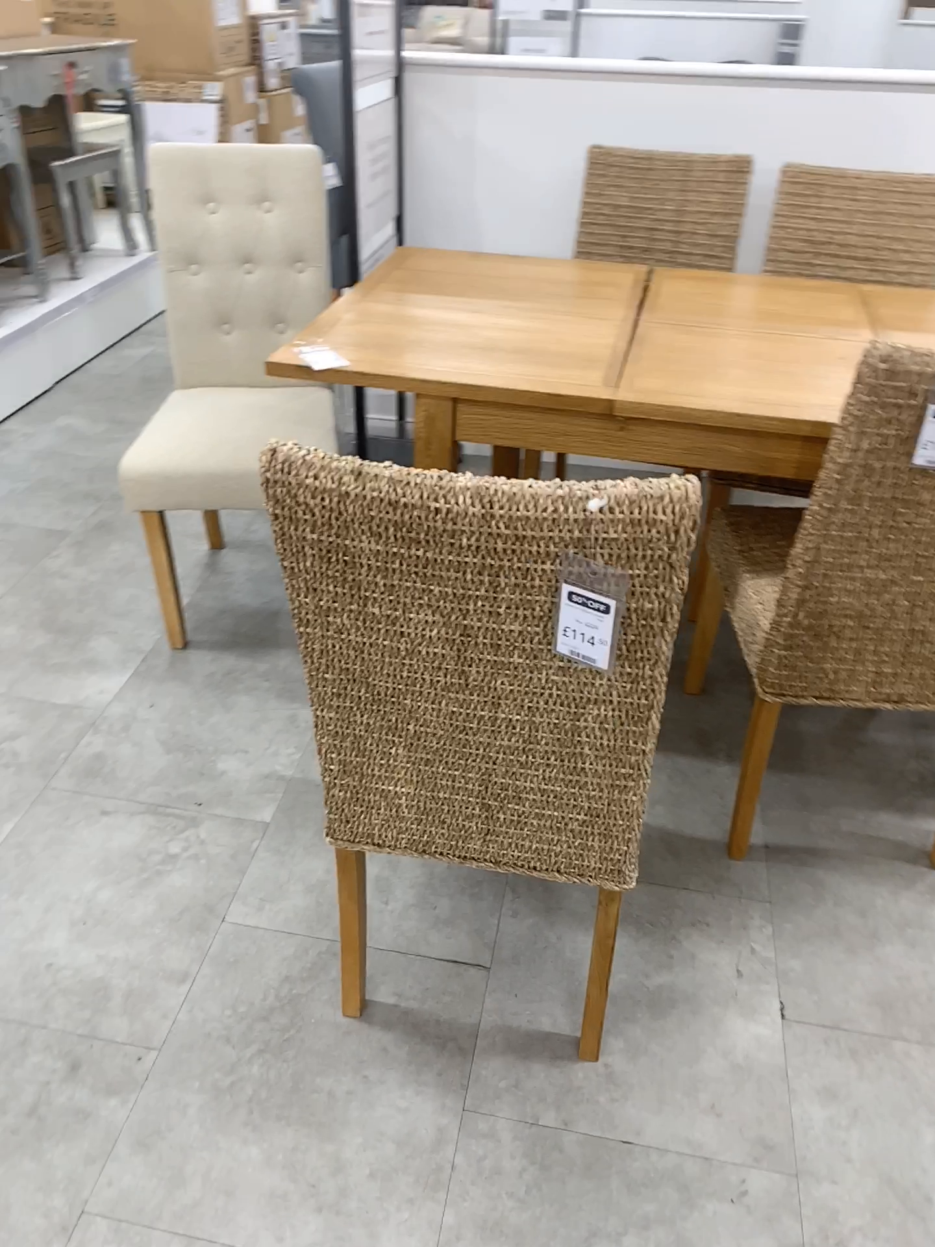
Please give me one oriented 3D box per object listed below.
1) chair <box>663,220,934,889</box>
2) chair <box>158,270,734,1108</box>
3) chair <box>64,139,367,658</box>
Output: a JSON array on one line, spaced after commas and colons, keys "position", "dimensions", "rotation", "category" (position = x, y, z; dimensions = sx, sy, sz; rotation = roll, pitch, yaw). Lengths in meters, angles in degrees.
[{"position": [0.627, -0.108, 1.537], "dimensions": [0.437, 0.893, 0.558], "rotation": [3, 34, 2], "category": "chair"}, {"position": [0.009, 0.082, 1.275], "dimensions": [0.487, 0.903, 0.568], "rotation": [7, 34, 7], "category": "chair"}, {"position": [-0.445, -0.452, 1.961], "dimensions": [0.397, 0.903, 0.517], "rotation": [1, 34, -1], "category": "chair"}]
